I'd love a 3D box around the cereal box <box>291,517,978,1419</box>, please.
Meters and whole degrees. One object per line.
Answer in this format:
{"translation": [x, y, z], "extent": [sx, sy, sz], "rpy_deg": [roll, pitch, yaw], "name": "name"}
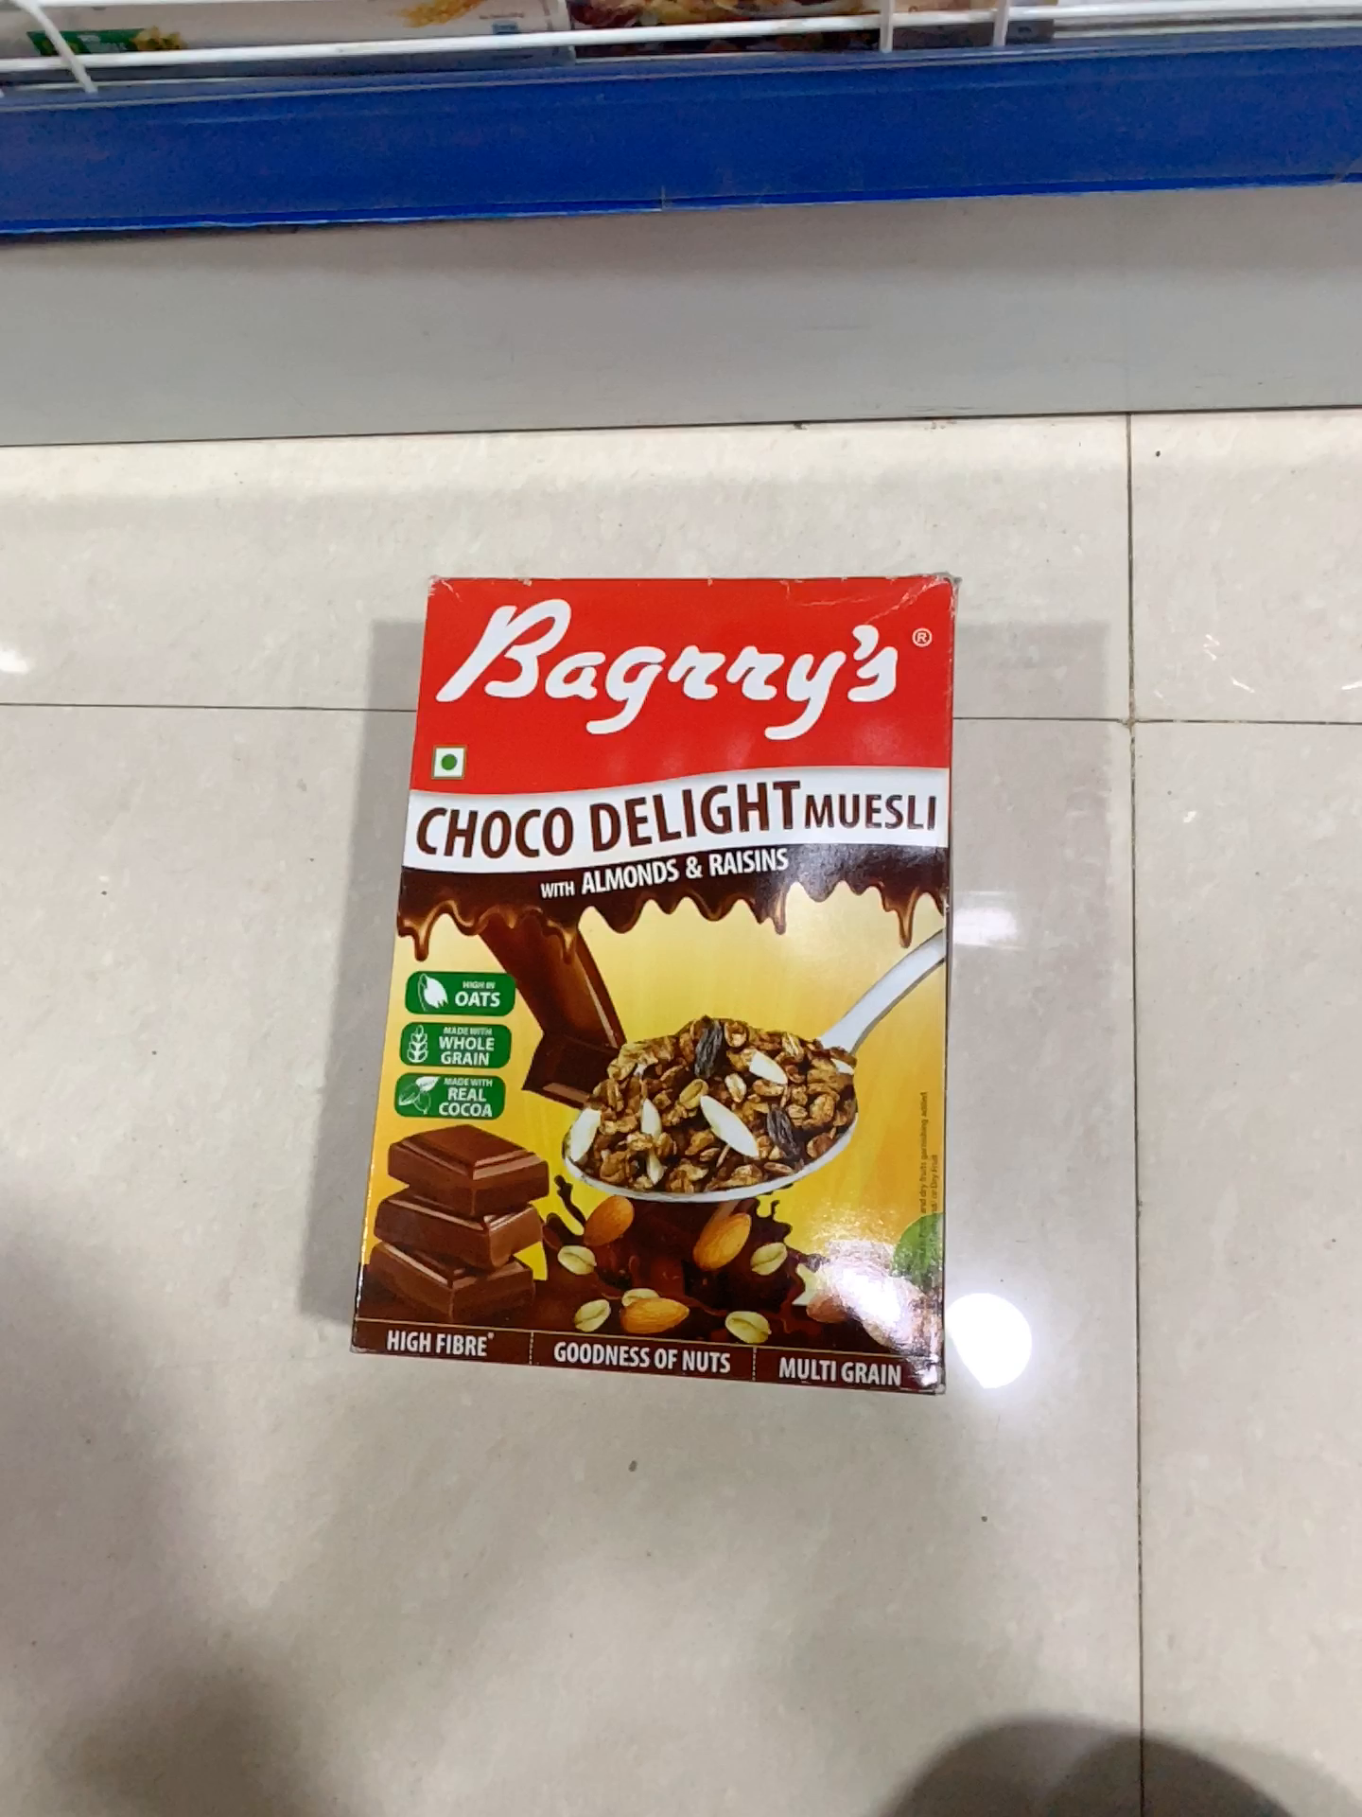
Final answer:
{"translation": [-0.005, 0.014, 0.478], "extent": [0.200, 0.080, 0.280], "rpy_deg": [2, 77, 8], "name": "cereal box"}
